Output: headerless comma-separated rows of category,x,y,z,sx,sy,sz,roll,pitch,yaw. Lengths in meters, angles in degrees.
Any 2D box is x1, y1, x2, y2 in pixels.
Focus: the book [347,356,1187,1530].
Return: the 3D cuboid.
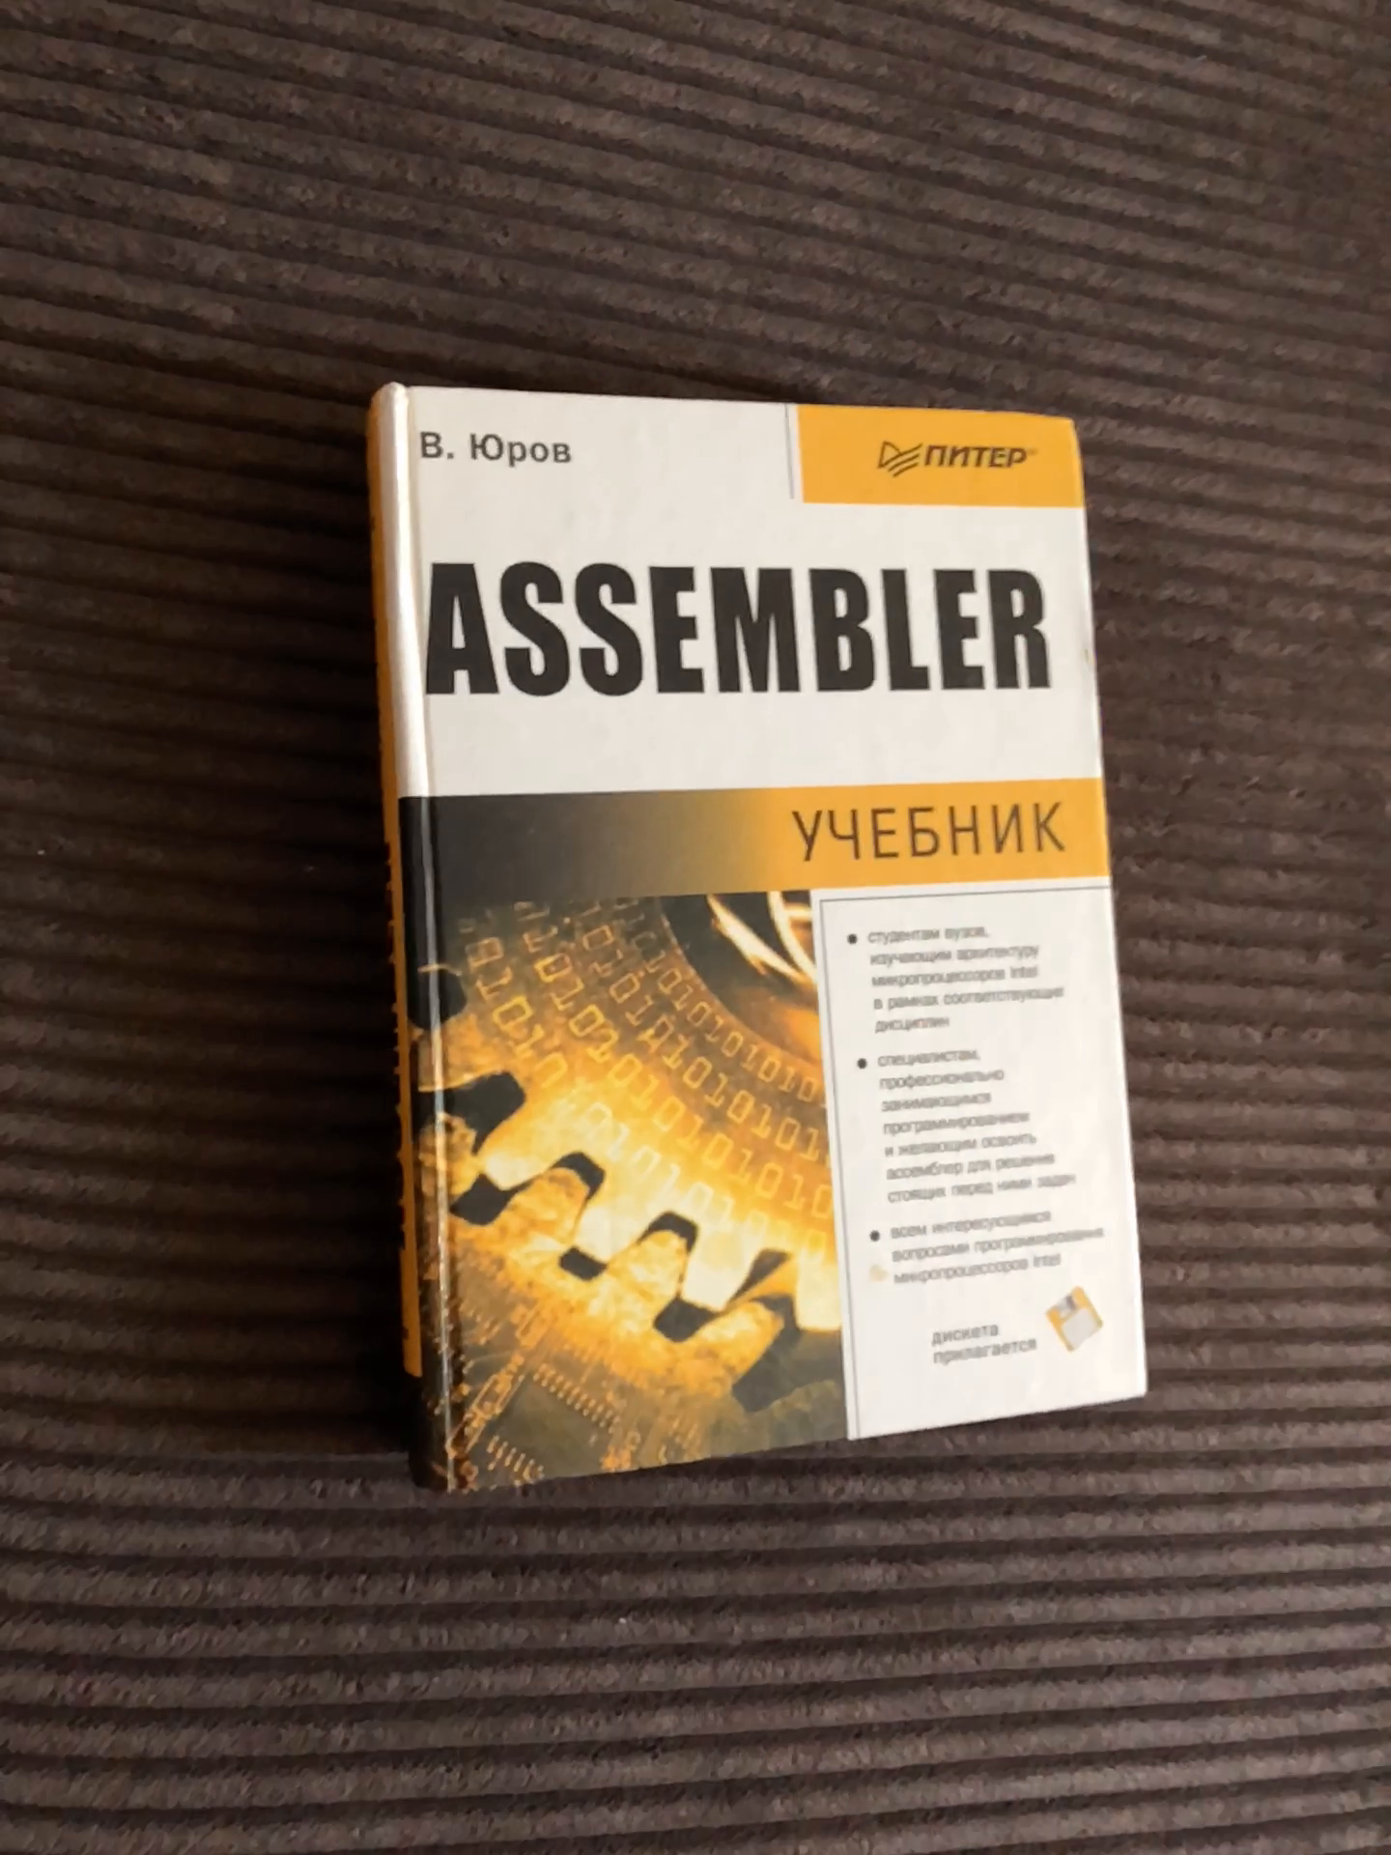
book,0.013,-0.002,0.361,0.170,0.058,0.236,-3,85,-17
